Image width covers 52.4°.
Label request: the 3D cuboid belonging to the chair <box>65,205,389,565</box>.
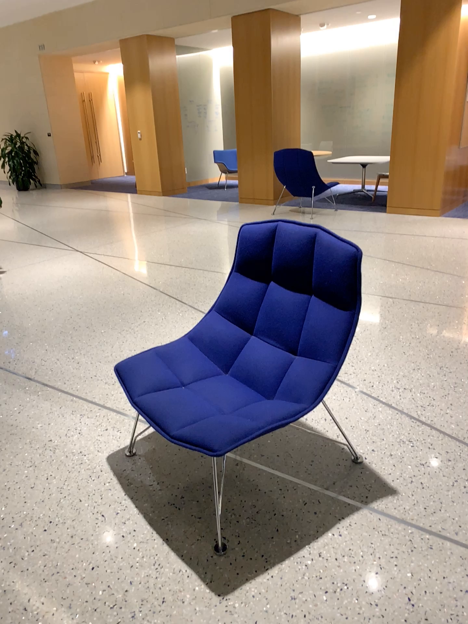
[{"bbox_3d":[-0.040,0.138,1.838,0.796,0.895,0.858,-17,25,-33],"label":"chair"}]
